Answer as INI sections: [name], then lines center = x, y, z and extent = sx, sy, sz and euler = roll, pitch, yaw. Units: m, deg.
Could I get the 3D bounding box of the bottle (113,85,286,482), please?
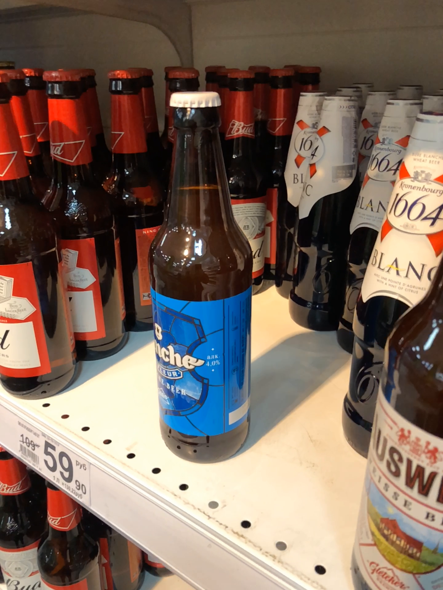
[bottle]
center = -0.012, -0.006, 0.325
extent = 0.069, 0.244, 0.070
euler = 0, 24, 0
